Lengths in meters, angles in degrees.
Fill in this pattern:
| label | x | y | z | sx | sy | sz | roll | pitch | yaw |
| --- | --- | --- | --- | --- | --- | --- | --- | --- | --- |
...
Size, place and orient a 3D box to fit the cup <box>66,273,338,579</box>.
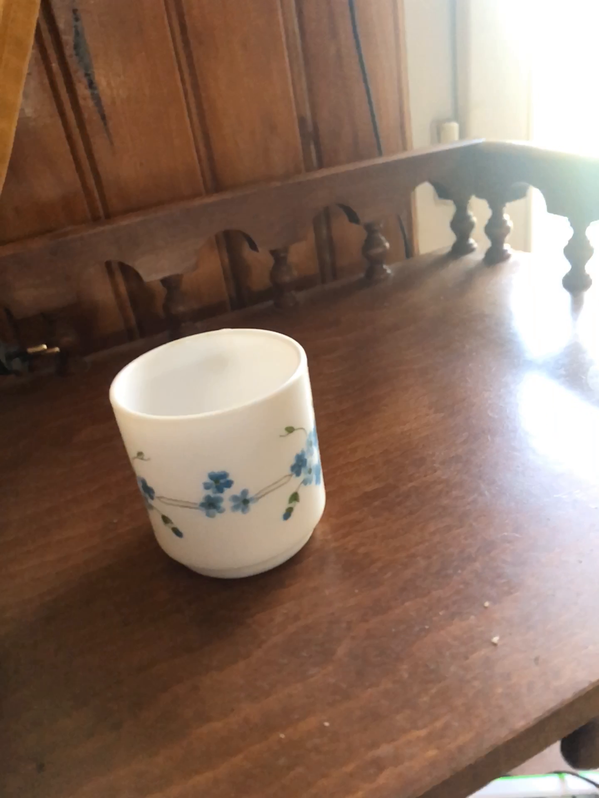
| label | x | y | z | sx | sy | sz | roll | pitch | yaw |
| --- | --- | --- | --- | --- | --- | --- | --- | --- | --- |
| cup | -0.022 | 0.005 | 0.214 | 0.060 | 0.060 | 0.080 | -5 | 29 | 8 |
